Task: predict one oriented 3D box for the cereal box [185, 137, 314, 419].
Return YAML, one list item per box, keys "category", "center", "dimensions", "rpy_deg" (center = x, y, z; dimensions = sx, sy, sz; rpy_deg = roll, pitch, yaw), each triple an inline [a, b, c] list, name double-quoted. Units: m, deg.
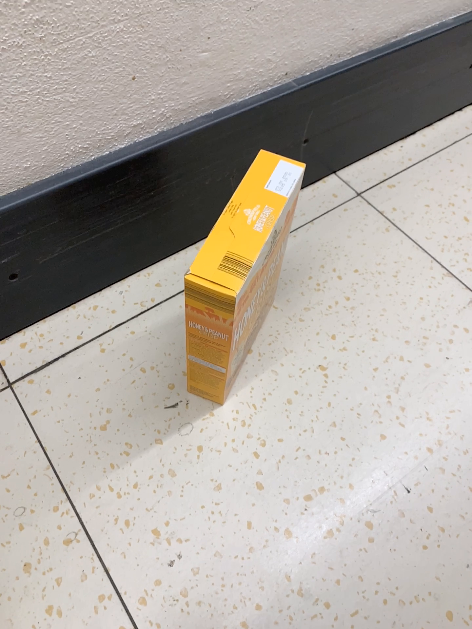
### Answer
- category: "cereal box"
  center: [0.008, -0.024, 0.543]
  dimensions: [0.050, 0.268, 0.191]
  rpy_deg: [21, 58, 8]
